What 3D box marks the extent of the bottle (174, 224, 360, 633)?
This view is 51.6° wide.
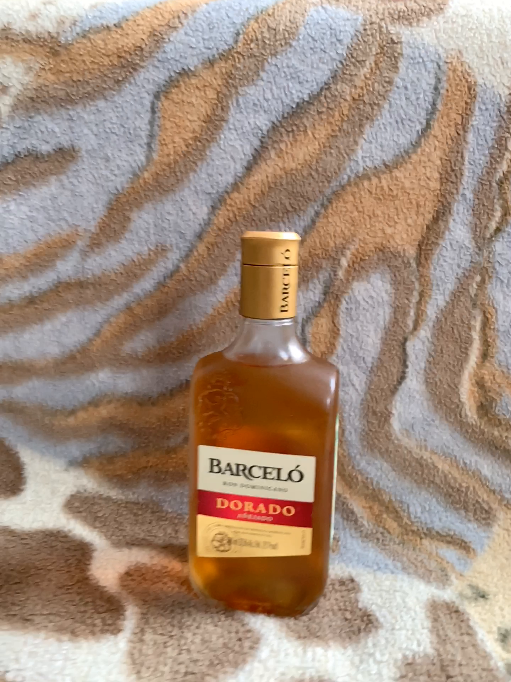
[{"bbox_3d":[0.007,0.045,0.310,0.090,0.219,0.070,2,12,7],"label":"bottle"}]
